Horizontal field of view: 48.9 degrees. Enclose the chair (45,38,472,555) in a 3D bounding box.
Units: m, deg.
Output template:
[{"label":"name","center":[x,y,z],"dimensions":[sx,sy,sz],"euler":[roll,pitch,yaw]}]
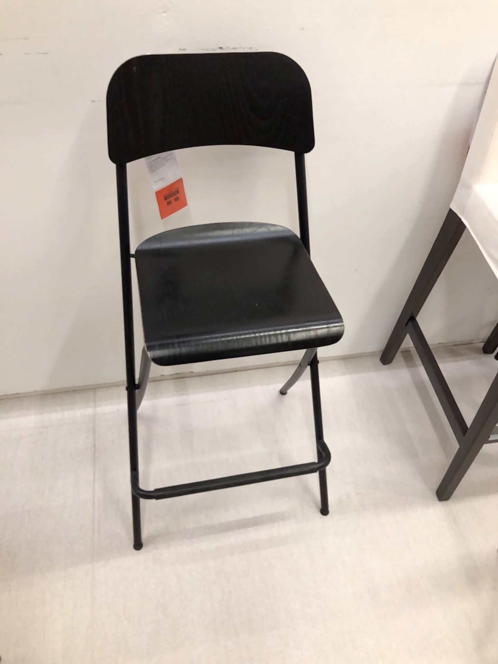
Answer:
[{"label":"chair","center":[-0.039,-0.016,1.088],"dimensions":[0.490,0.884,0.473],"euler":[-7,47,-10]}]
